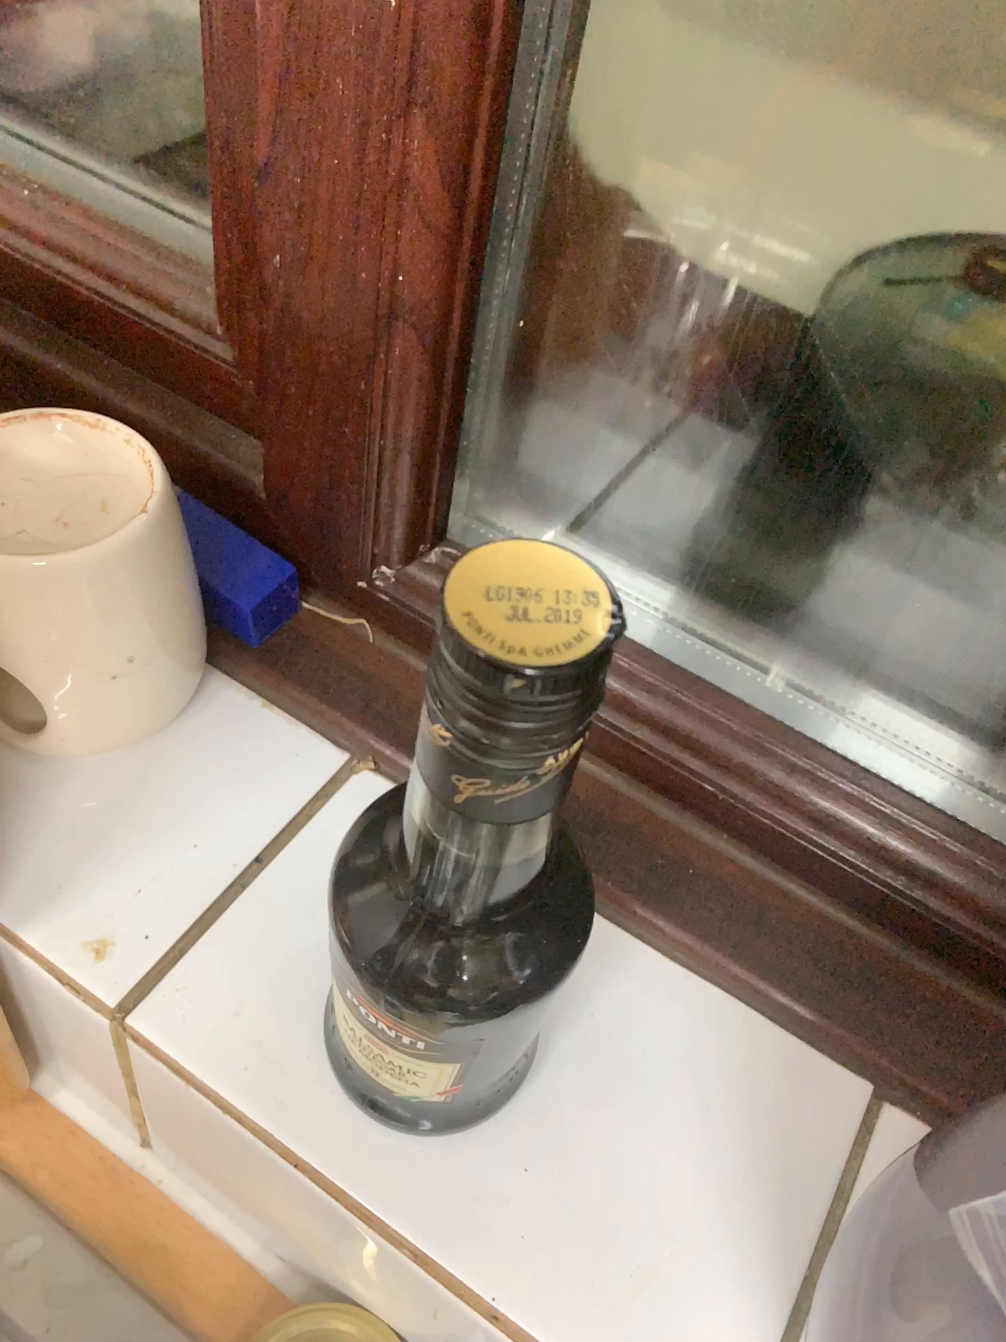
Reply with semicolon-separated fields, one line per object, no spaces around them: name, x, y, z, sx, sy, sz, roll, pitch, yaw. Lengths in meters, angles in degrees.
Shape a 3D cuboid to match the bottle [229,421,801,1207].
bottle;-0.008;0.046;0.240;0.070;0.178;0.071;6;49;-7
